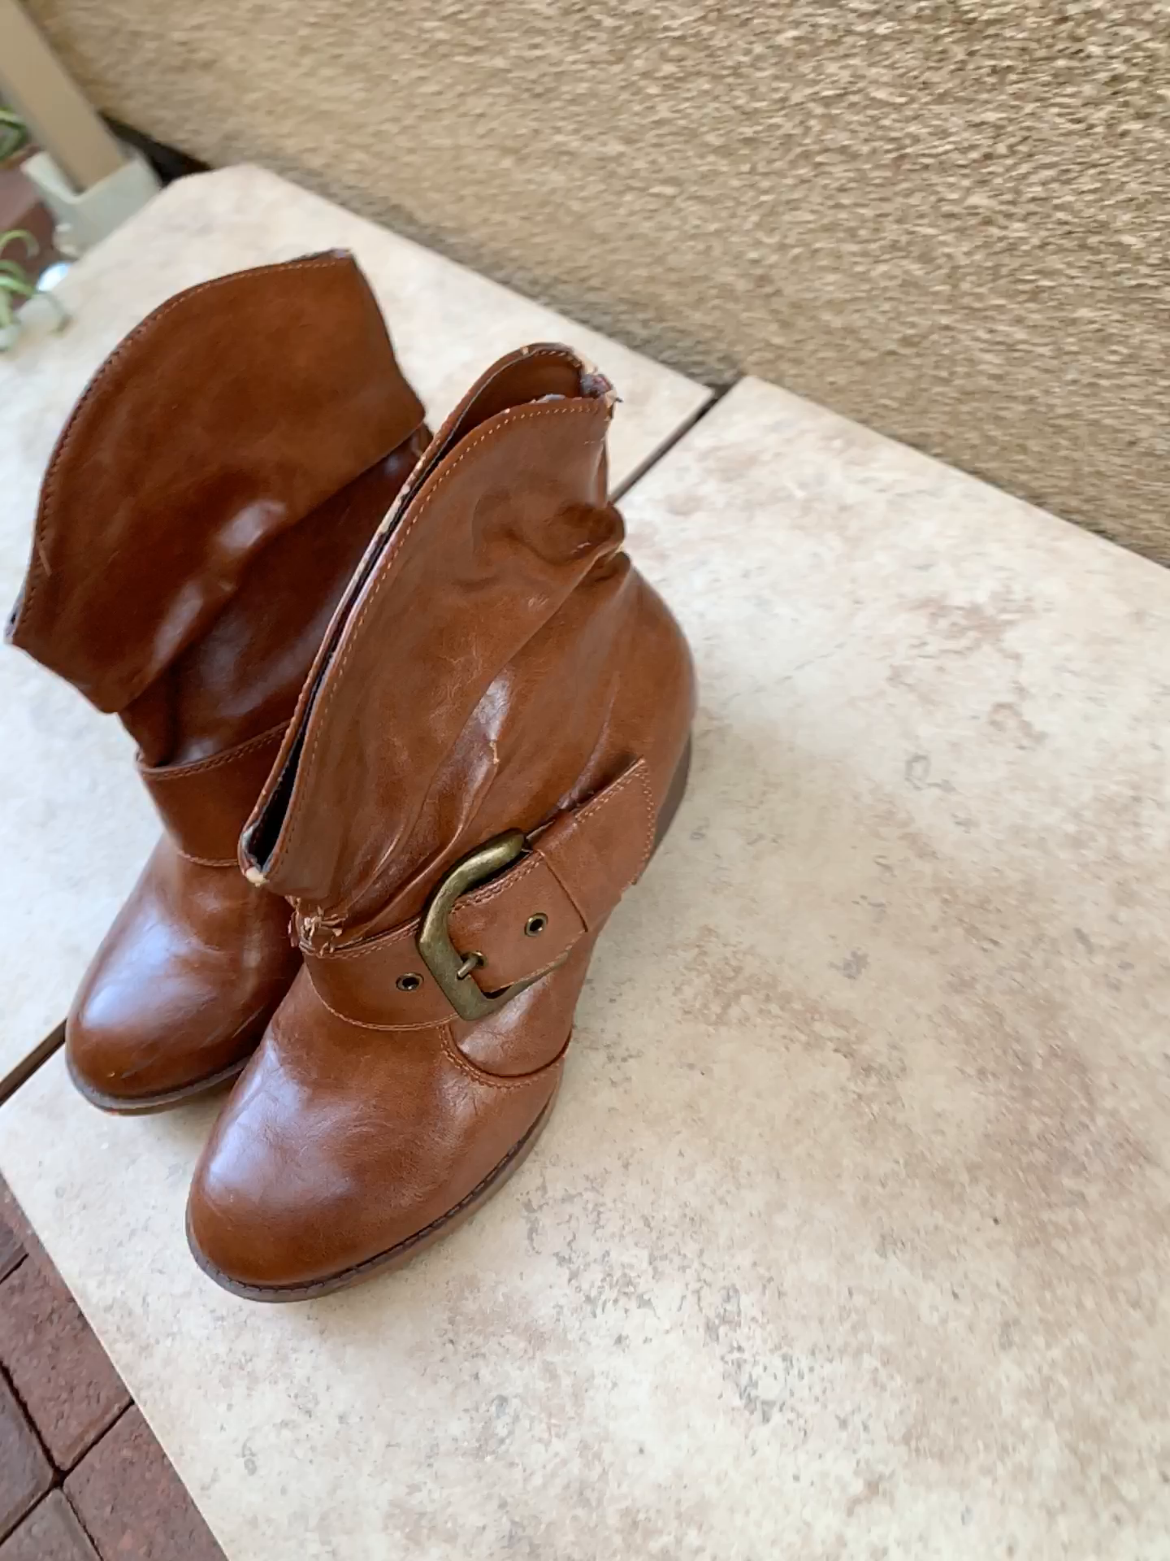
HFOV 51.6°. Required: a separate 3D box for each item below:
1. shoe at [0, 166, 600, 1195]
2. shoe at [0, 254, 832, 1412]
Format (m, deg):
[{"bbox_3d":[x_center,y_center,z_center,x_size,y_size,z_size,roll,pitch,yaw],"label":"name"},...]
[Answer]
[{"bbox_3d":[-0.133,-0.019,0.386,0.096,0.198,0.244,31,75,31],"label":"shoe"},{"bbox_3d":[-0.061,0.031,0.333,0.101,0.198,0.244,36,78,32],"label":"shoe"}]
